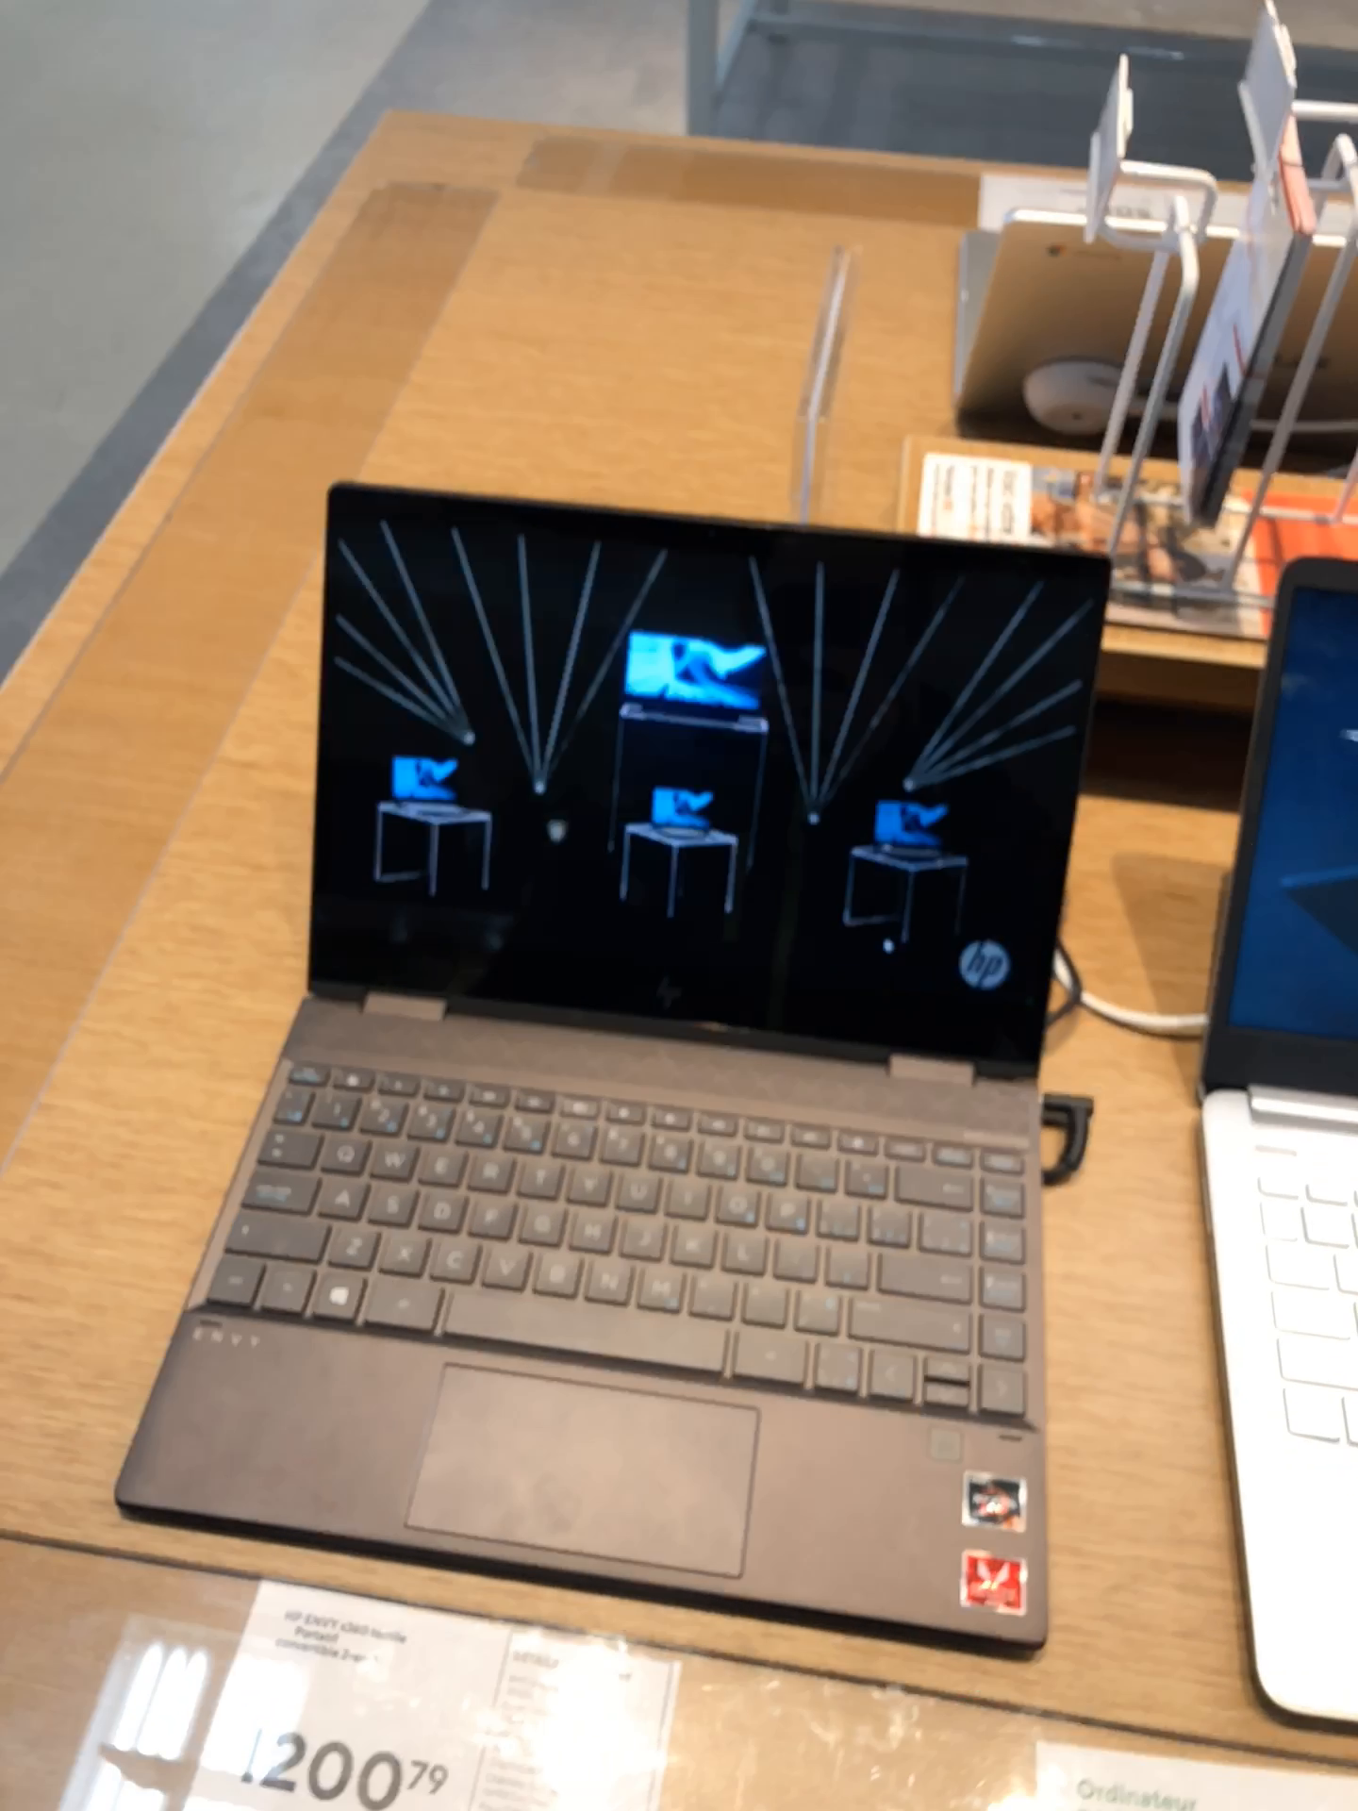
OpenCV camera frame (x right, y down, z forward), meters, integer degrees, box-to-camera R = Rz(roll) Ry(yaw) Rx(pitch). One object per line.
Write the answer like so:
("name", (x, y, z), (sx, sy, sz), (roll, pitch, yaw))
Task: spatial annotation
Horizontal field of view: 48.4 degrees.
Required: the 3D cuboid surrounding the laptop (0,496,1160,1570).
("laptop", (-0.008, 0.026, 0.538), (0.293, 0.163, 0.319), (6, 49, 5))
